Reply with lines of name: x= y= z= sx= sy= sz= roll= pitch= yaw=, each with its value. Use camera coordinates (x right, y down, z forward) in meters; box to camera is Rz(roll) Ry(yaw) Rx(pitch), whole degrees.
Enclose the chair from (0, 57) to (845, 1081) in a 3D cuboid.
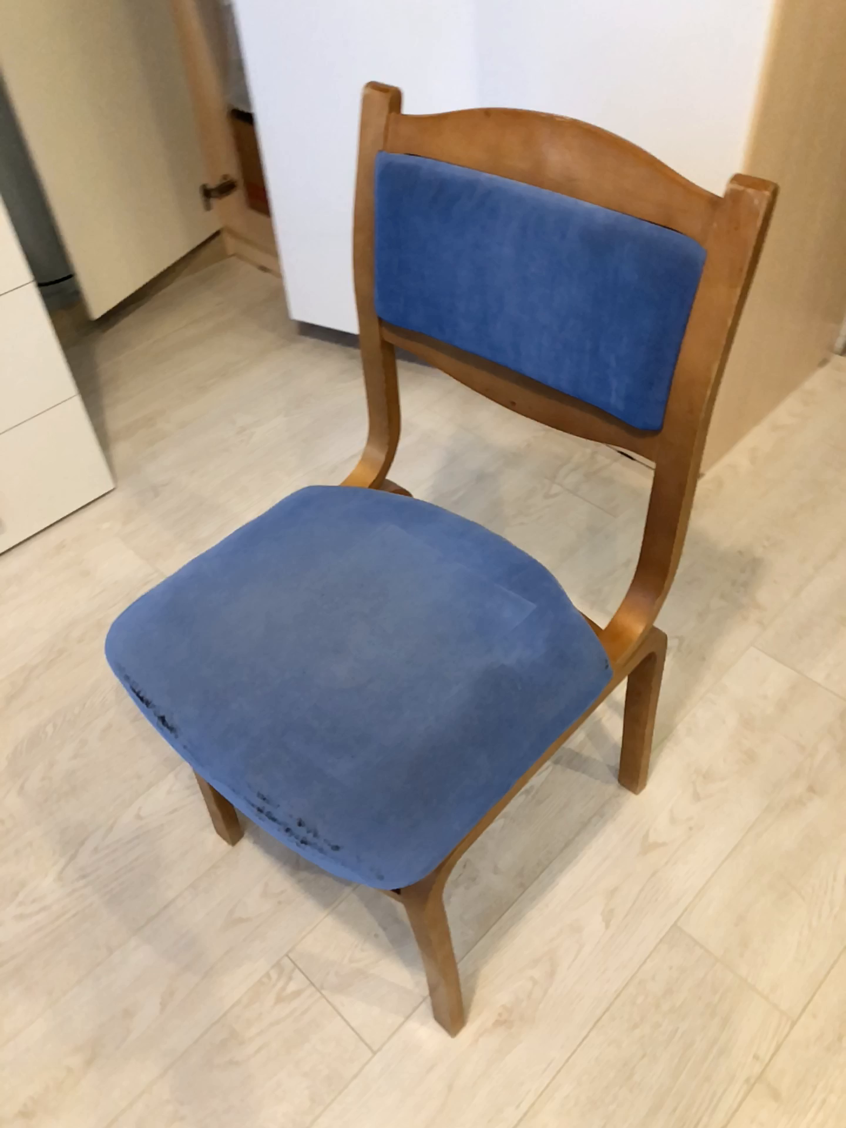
chair: x=-0.010 y=0.044 z=0.924 sx=0.451 sy=0.805 sz=0.472 roll=31 pitch=56 yaw=29
